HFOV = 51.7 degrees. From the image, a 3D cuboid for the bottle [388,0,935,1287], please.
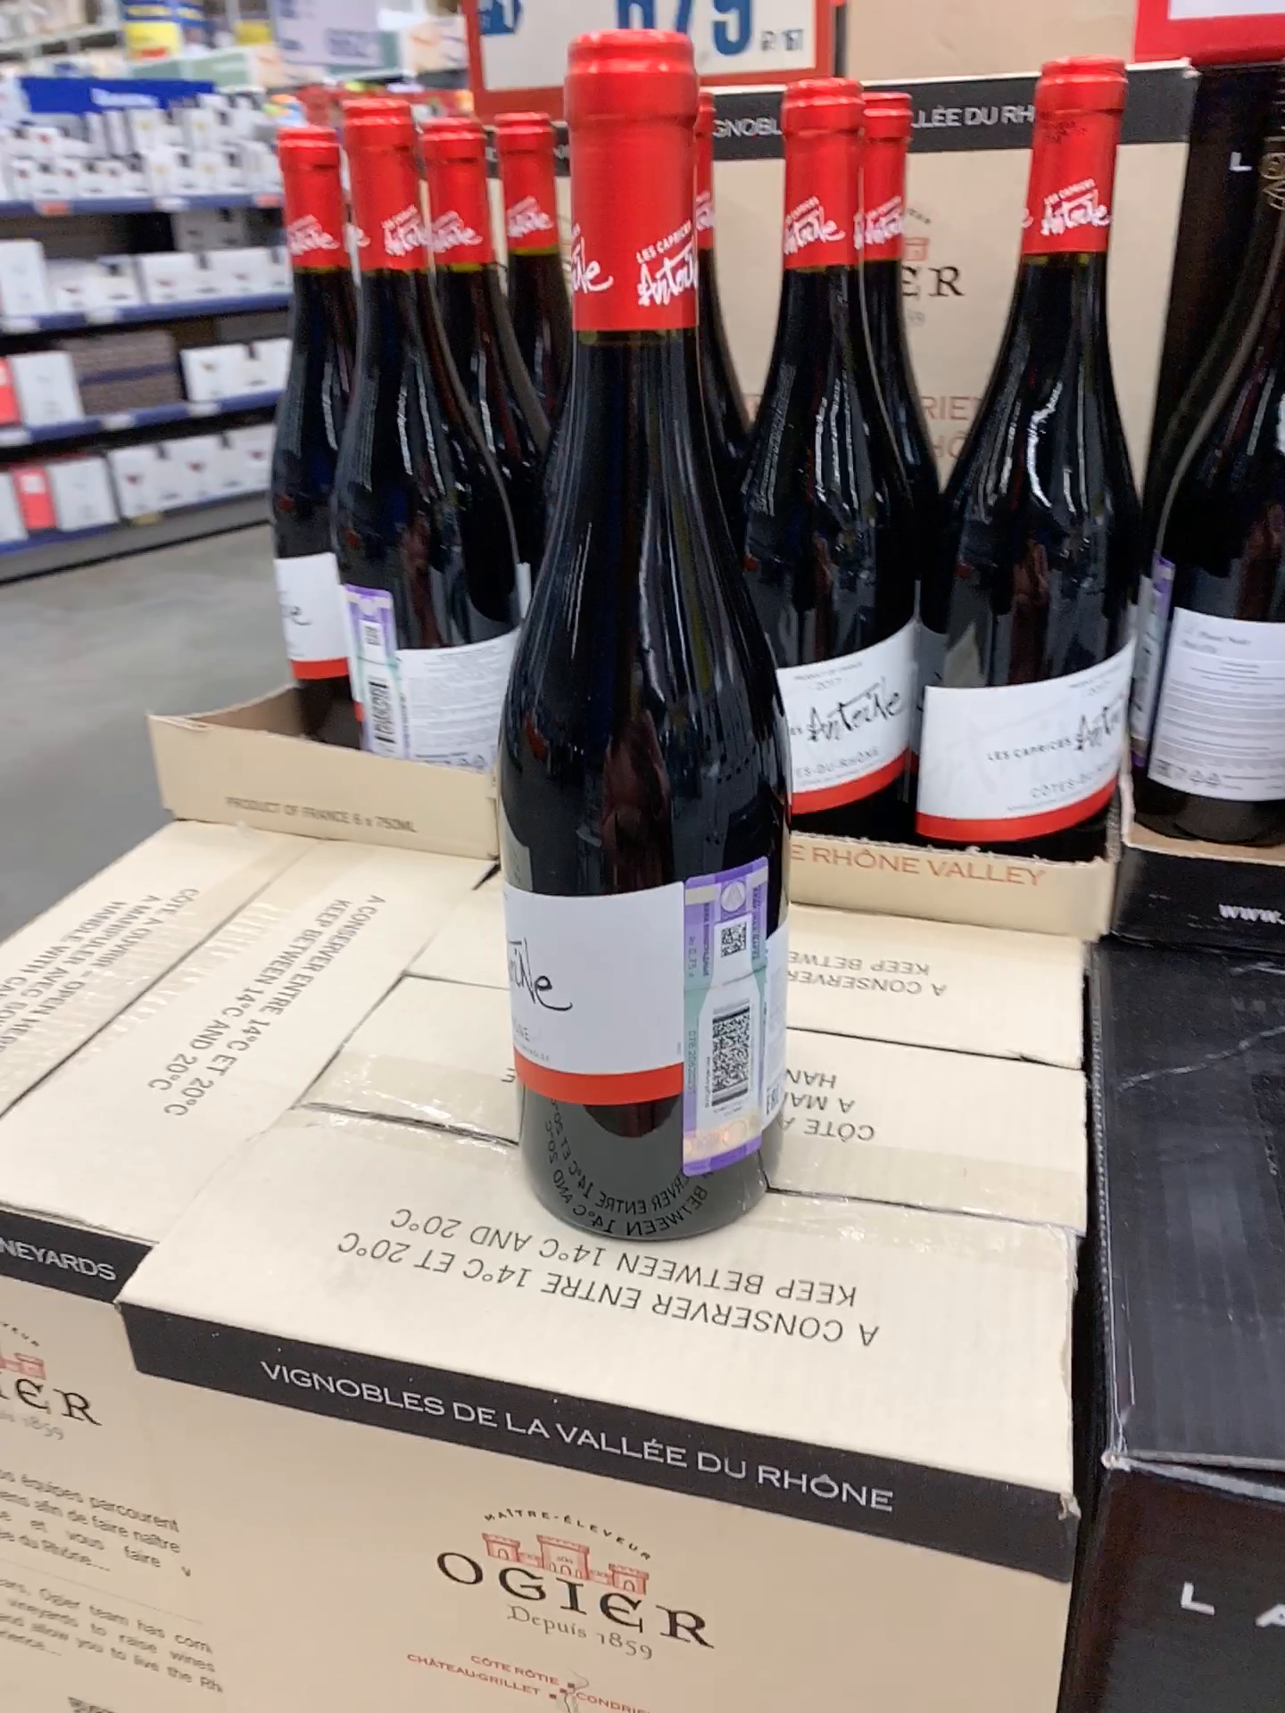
[{"bbox_3d":[0.002,-0.043,0.345,0.090,0.298,0.090,-1,27,1],"label":"bottle"}]
